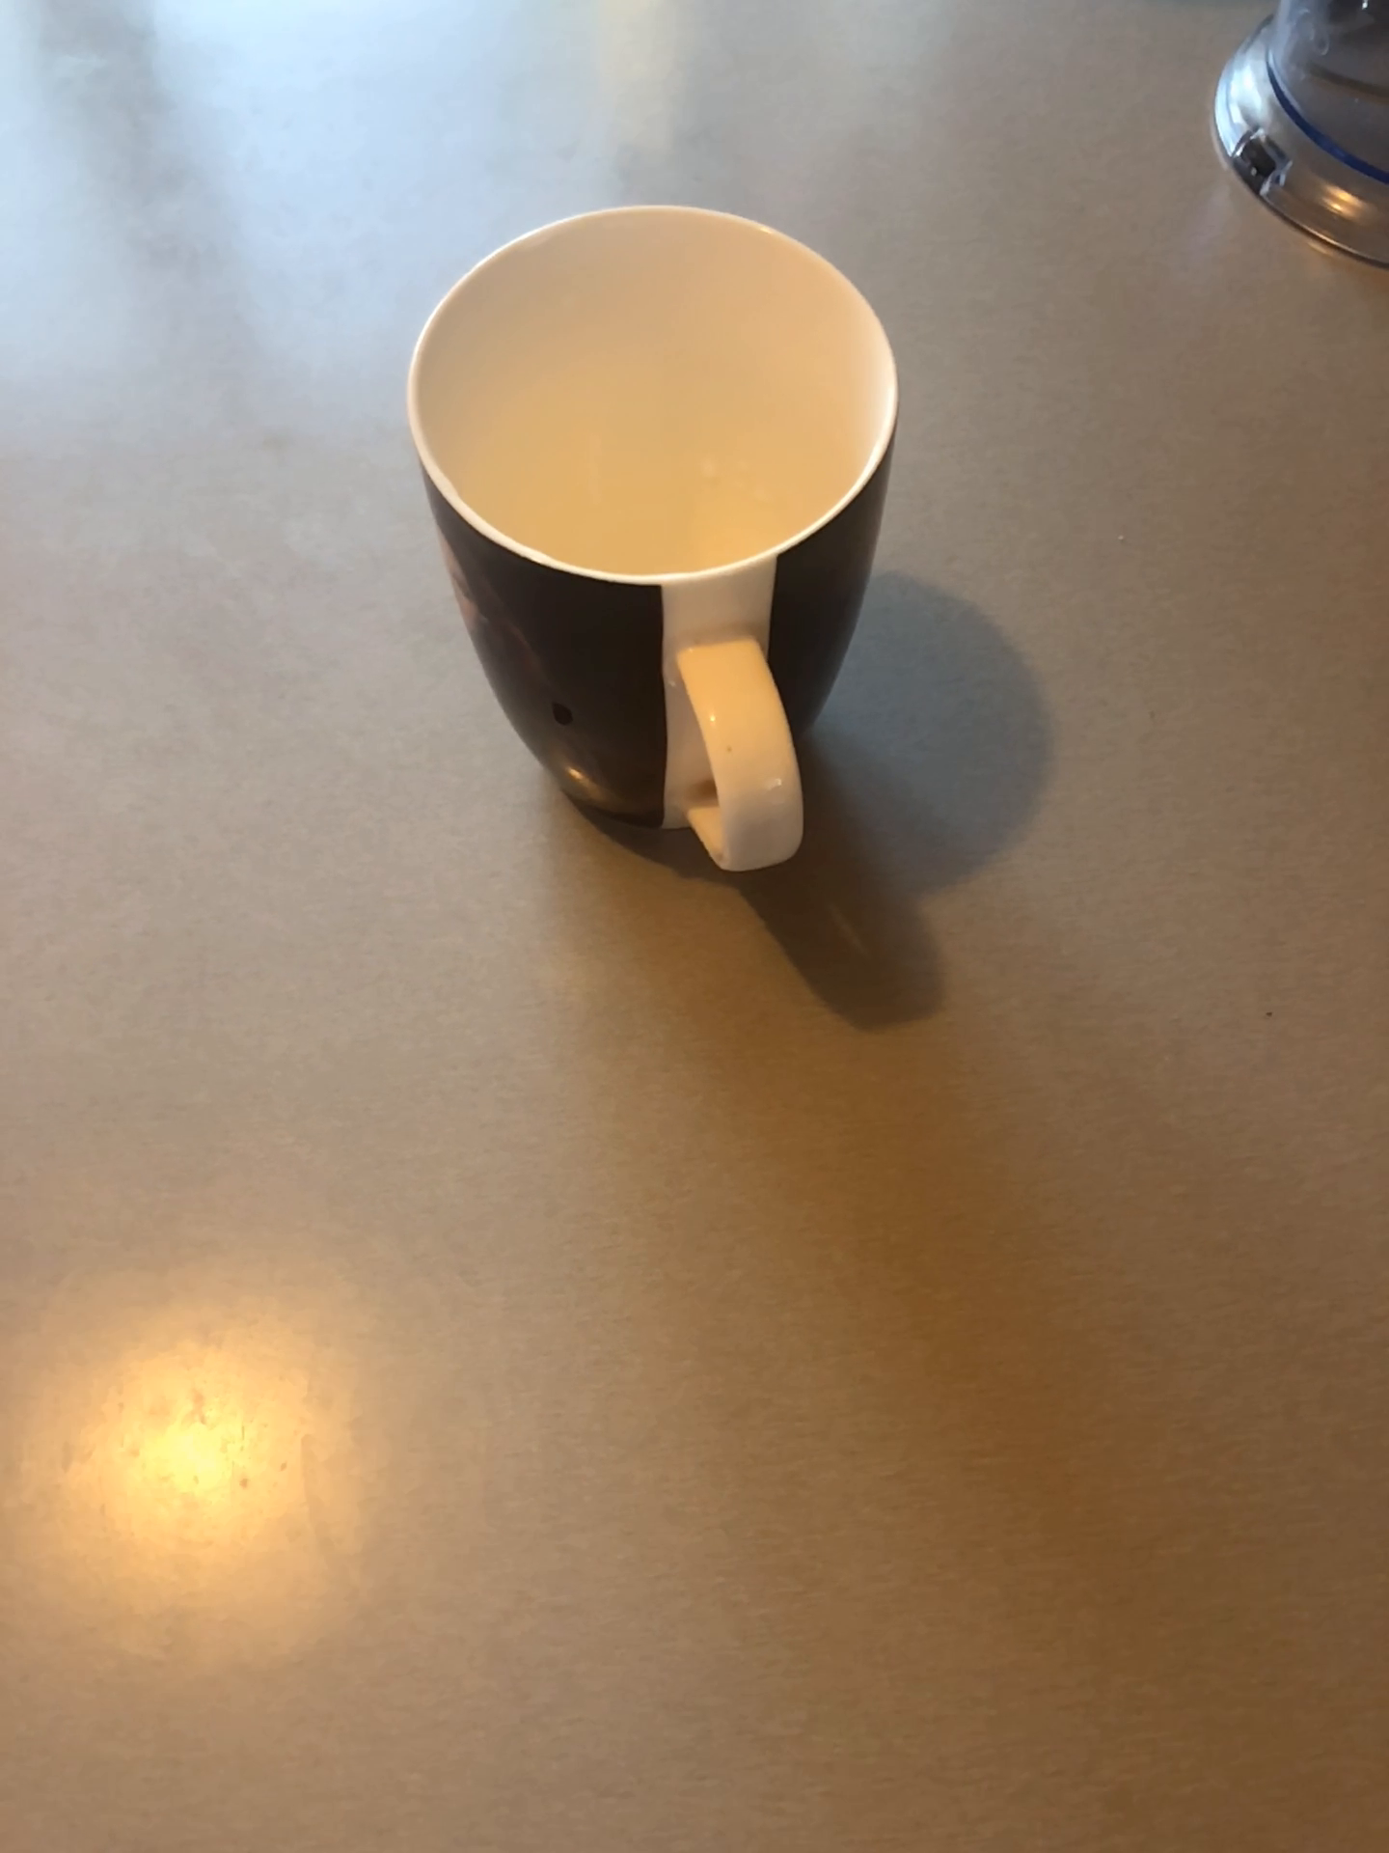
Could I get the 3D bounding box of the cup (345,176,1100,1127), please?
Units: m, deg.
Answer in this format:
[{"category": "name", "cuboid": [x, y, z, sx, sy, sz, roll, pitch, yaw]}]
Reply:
[{"category": "cup", "cuboid": [-0.001, -0.050, 0.296, 0.090, 0.100, 0.130, -14, 63, -7]}]
